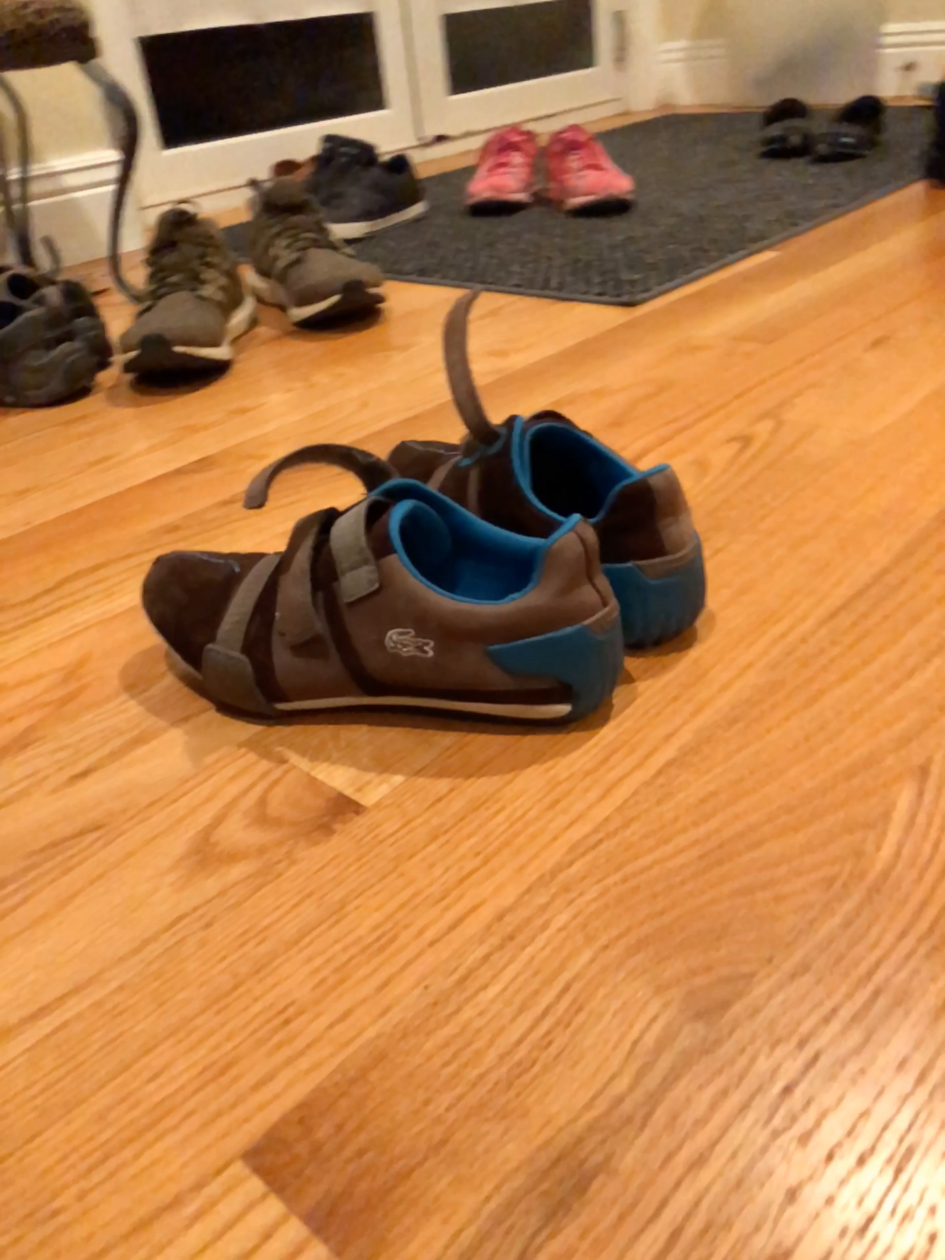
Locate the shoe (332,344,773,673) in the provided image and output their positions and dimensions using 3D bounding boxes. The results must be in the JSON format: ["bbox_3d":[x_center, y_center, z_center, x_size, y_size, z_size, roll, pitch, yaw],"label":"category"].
[{"bbox_3d":[0.034,-0.084,0.588,0.102,0.091,0.256,-24,34,-27],"label":"shoe"}]

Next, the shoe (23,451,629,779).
[{"bbox_3d":[-0.065,-0.018,0.491,0.255,0.091,0.103,7,33,22],"label":"shoe"}]
